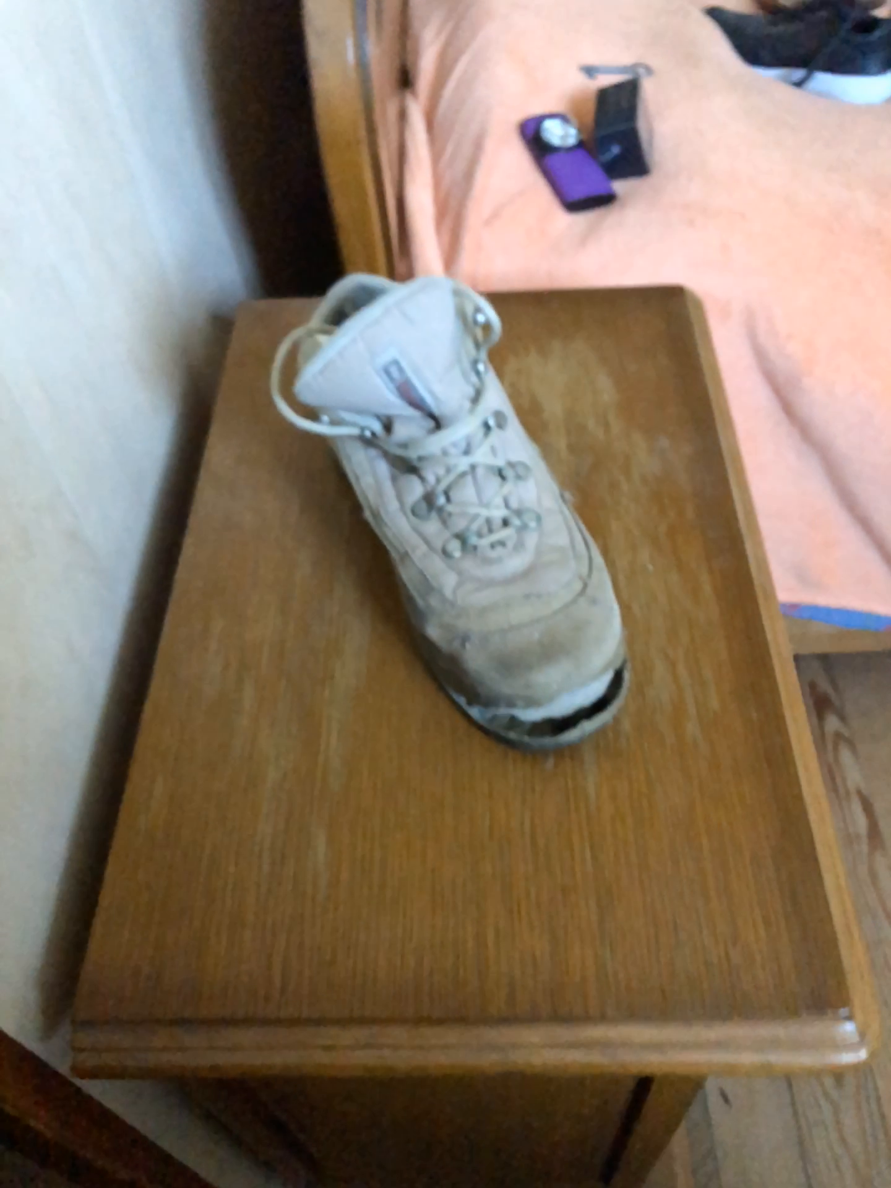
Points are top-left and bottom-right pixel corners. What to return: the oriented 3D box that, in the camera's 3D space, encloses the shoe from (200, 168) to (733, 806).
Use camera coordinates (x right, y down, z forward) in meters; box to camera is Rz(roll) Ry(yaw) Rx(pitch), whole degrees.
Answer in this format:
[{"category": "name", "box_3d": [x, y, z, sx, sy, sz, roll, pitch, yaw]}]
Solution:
[{"category": "shoe", "box_3d": [-0.005, -0.070, 0.502, 0.130, 0.139, 0.291, -22, 52, -12]}]
